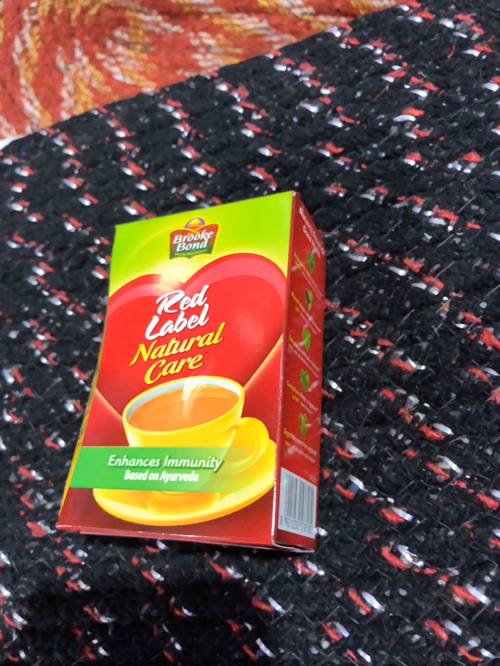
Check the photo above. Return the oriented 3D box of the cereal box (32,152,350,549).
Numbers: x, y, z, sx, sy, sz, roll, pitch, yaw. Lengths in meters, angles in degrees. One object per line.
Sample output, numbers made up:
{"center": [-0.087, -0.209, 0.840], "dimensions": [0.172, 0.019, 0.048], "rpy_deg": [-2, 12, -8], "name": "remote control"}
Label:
{"center": [-0.012, 0.007, 0.181], "dimensions": [0.080, 0.040, 0.110], "rpy_deg": [-4, 67, 21], "name": "cereal box"}
